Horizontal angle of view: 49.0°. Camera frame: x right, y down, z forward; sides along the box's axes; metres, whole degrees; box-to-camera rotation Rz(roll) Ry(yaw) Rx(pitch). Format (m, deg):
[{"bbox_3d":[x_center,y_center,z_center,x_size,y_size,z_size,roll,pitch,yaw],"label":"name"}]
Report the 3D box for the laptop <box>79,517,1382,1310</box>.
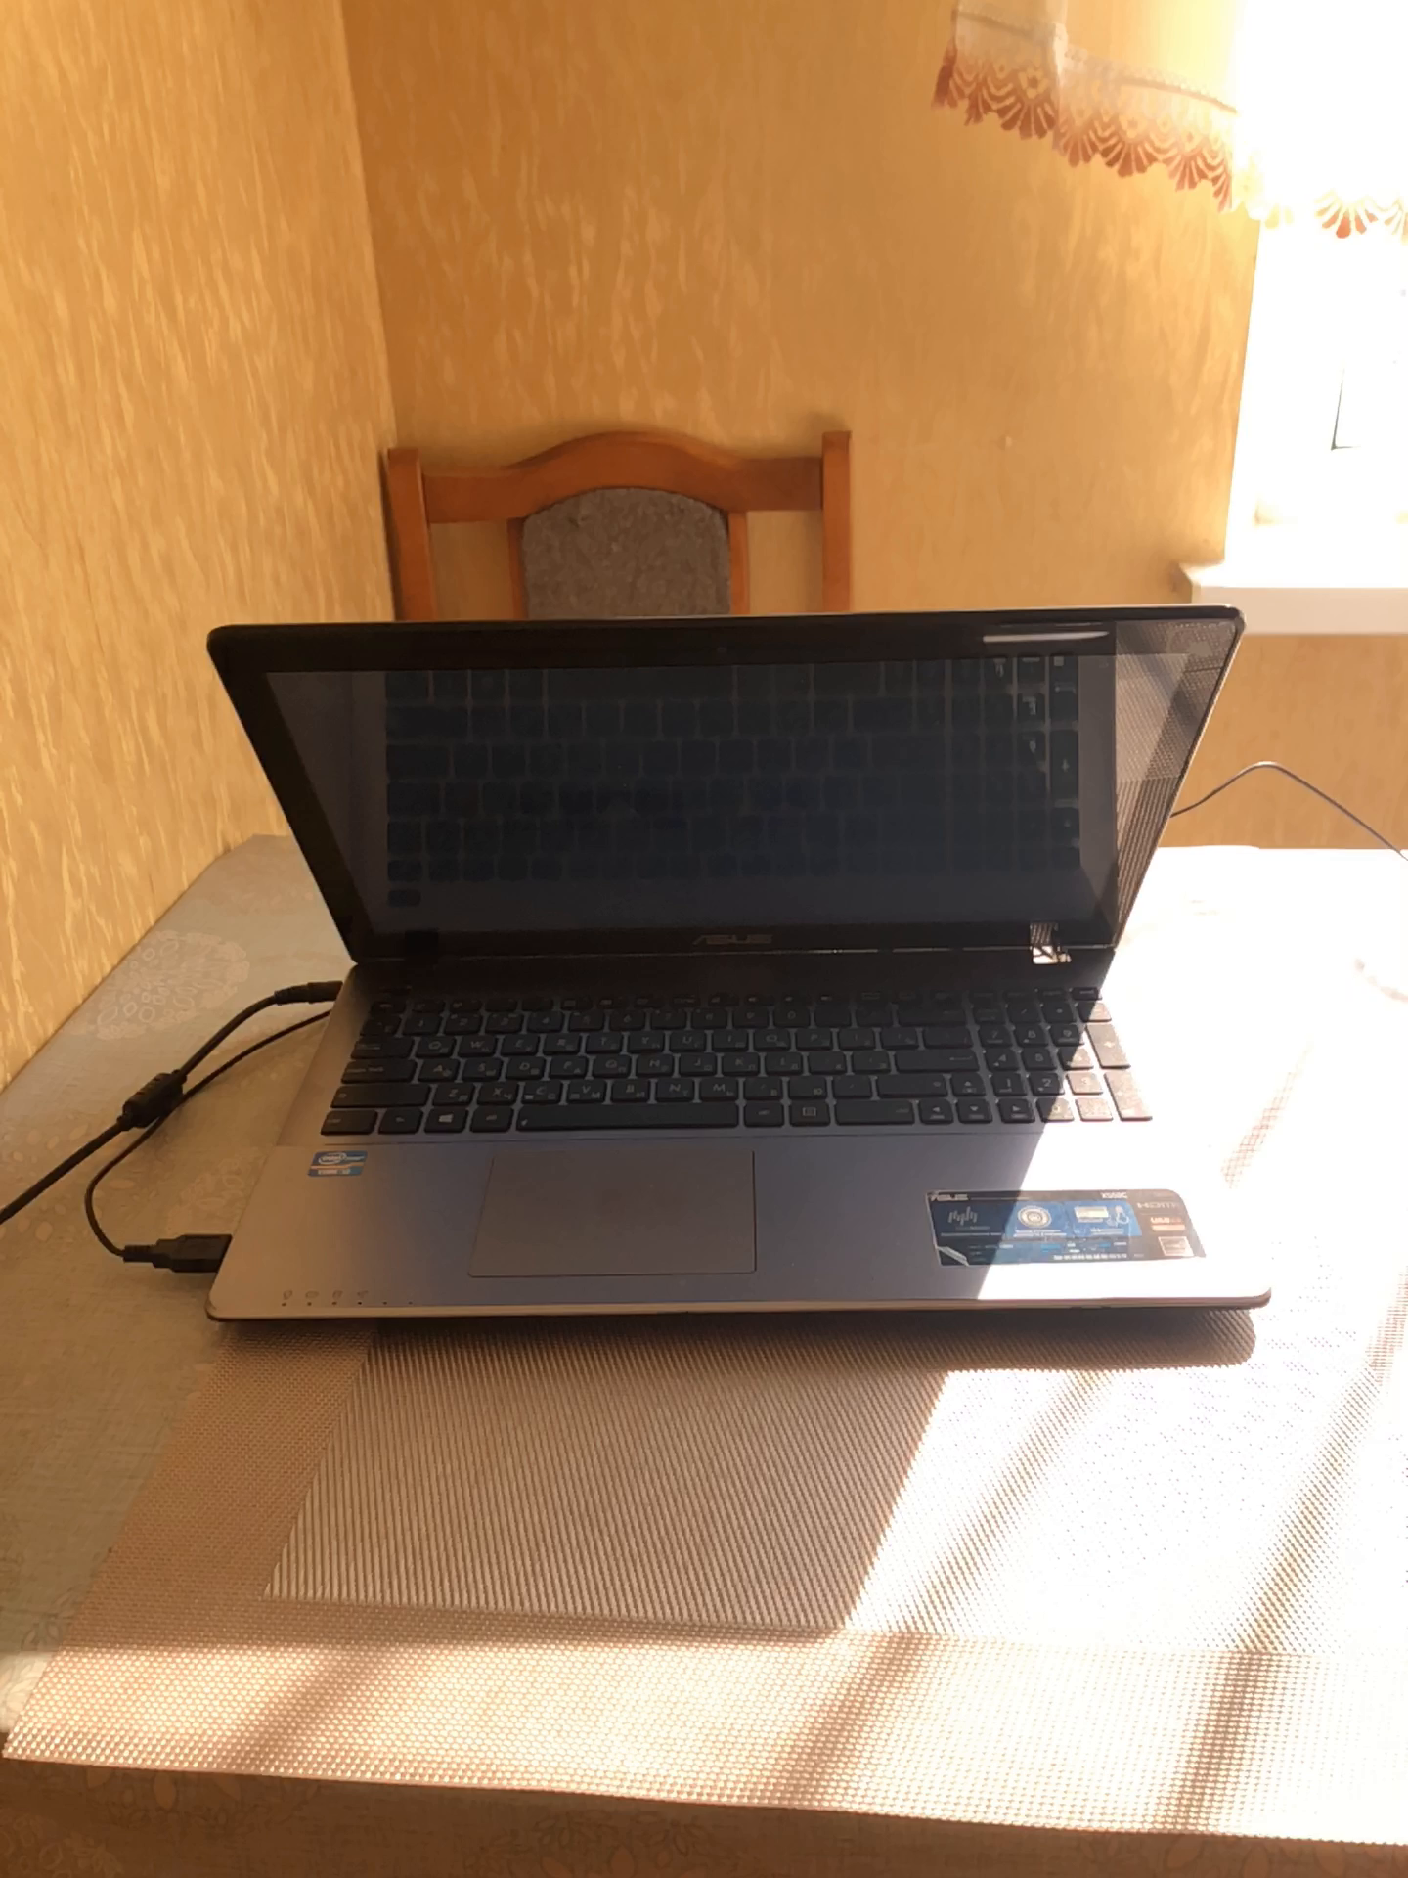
[{"bbox_3d":[0.009,-0.025,0.583,0.362,0.200,0.245,-2,27,2],"label":"laptop"}]
